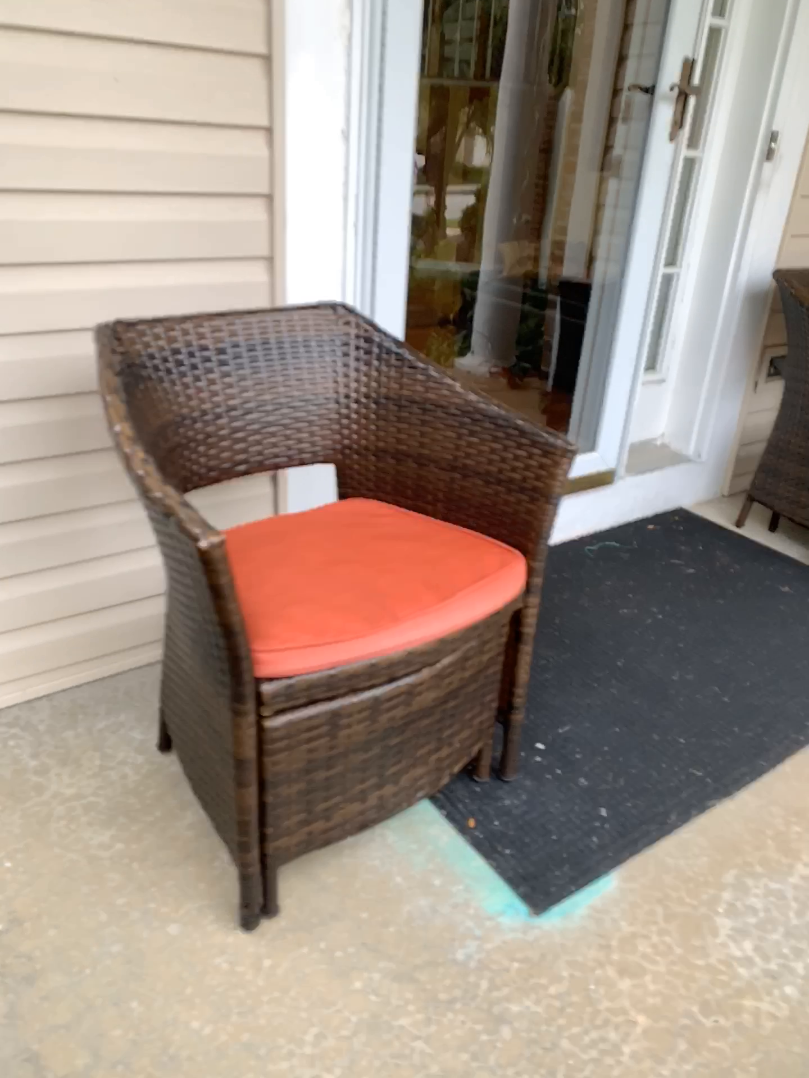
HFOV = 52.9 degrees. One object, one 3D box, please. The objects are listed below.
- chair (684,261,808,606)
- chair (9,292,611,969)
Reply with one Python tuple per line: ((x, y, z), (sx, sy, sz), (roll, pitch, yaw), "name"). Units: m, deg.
((1.331, -0.351, 2.333), (0.643, 0.757, 0.608), (-12, 29, -30), "chair")
((-0.162, 0.051, 1.344), (0.644, 0.757, 0.607), (-18, 32, -38), "chair")
